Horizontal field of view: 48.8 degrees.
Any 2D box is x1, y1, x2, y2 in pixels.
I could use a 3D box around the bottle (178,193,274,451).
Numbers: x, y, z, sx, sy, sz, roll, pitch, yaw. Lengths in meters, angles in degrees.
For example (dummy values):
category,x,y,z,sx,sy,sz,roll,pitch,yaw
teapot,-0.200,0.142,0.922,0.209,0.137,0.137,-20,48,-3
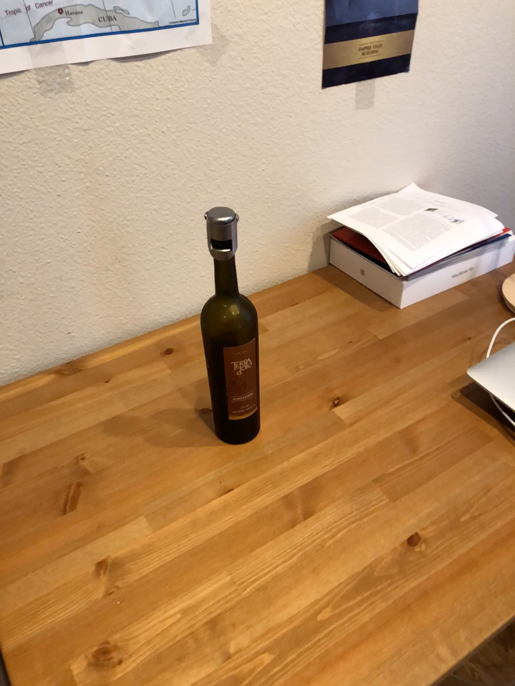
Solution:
category,x,y,z,sx,sy,sz,roll,pitch,yaw
bottle,-0.035,-0.014,0.765,0.080,0.348,0.080,-2,37,2
